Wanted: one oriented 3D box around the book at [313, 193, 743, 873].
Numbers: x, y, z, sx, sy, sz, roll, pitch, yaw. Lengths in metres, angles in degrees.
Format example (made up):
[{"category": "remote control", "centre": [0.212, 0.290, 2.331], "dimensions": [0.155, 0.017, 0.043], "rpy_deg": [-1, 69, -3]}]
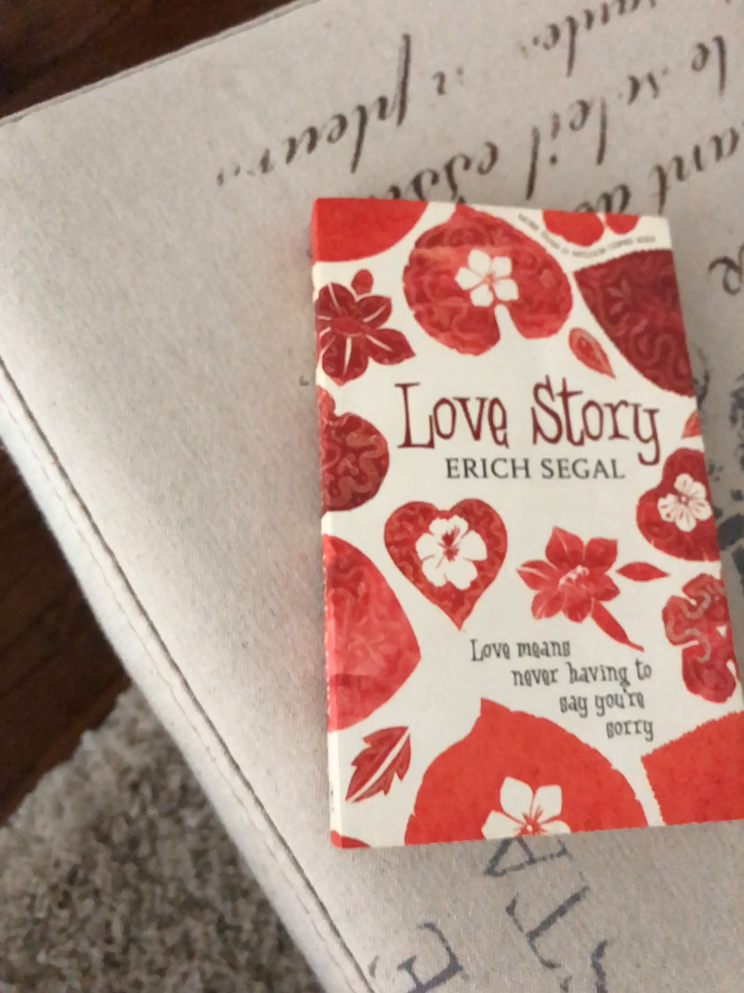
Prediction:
[{"category": "book", "centre": [0.047, 0.002, 0.248], "dimensions": [0.120, 0.020, 0.188], "rpy_deg": [0, 74, -11]}]
